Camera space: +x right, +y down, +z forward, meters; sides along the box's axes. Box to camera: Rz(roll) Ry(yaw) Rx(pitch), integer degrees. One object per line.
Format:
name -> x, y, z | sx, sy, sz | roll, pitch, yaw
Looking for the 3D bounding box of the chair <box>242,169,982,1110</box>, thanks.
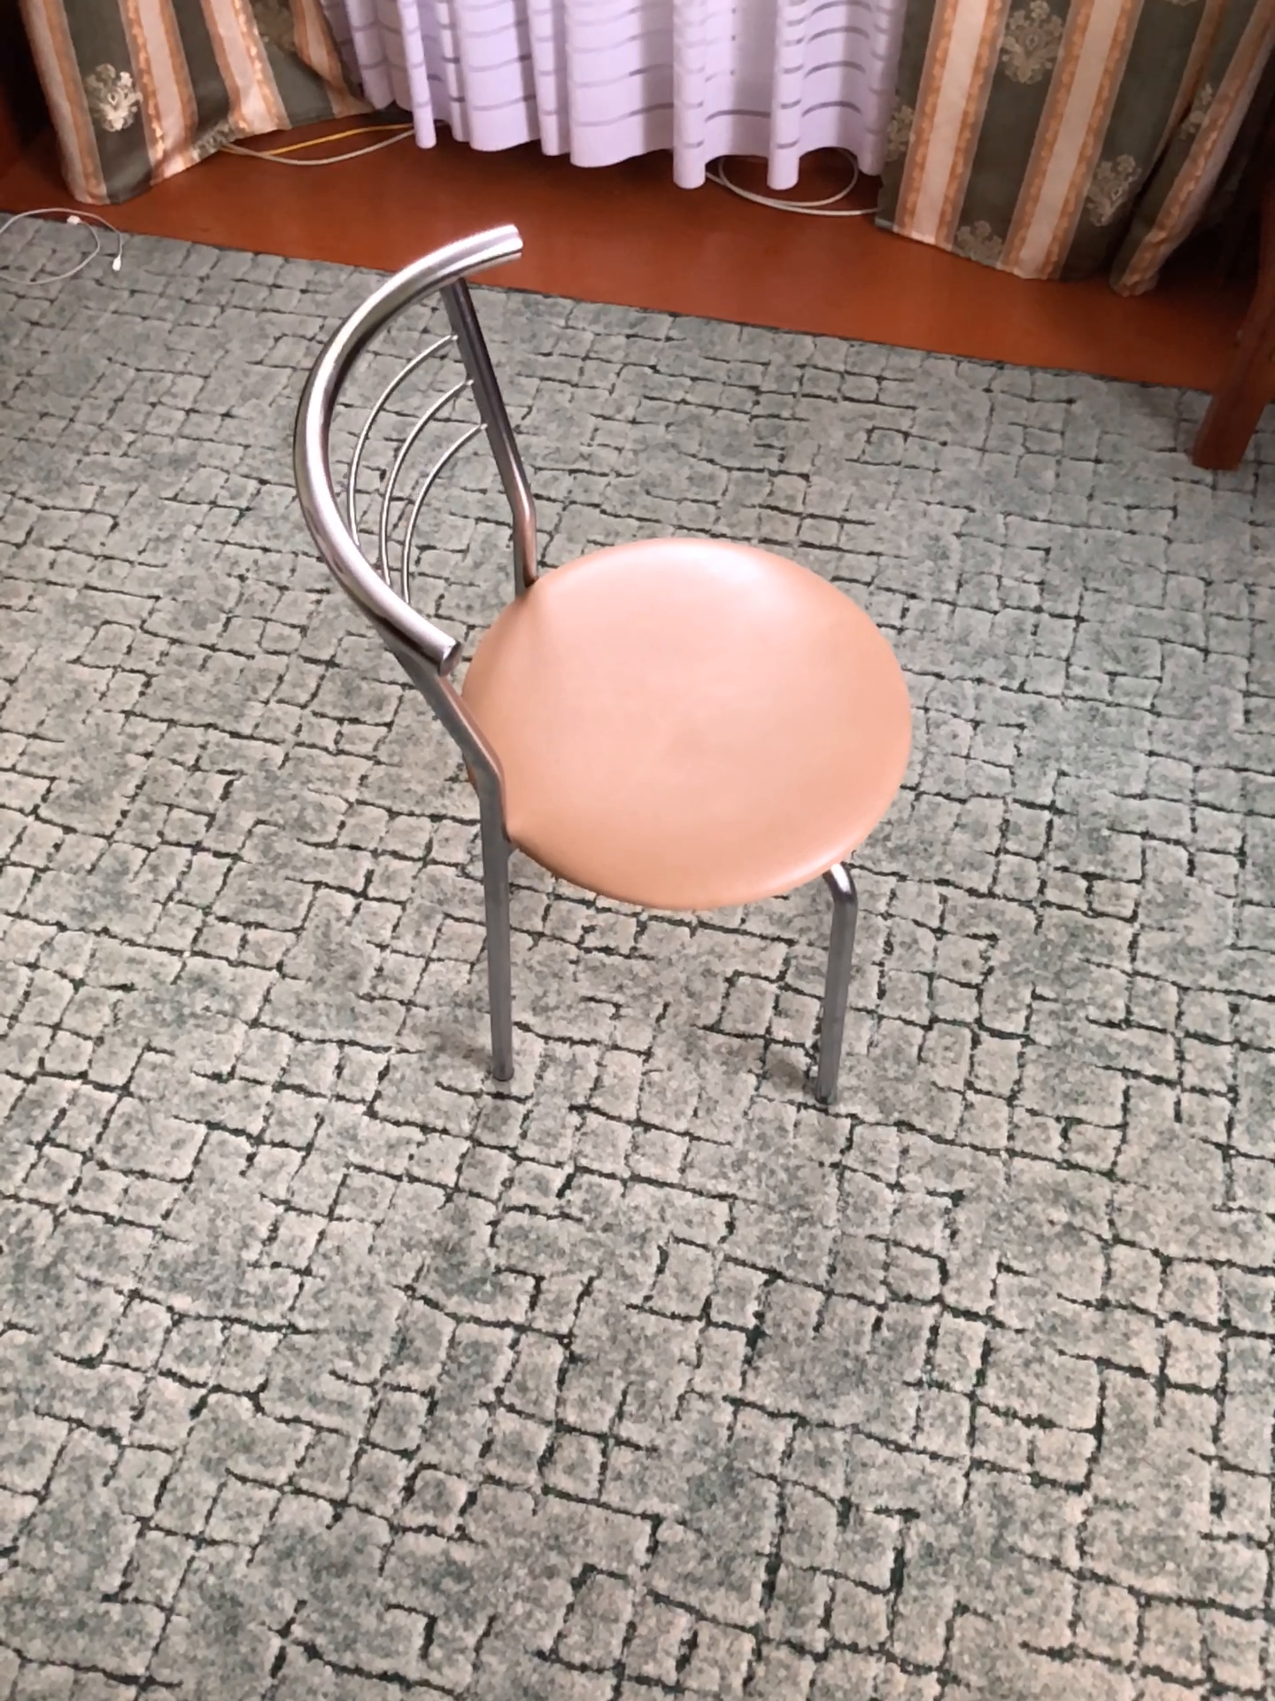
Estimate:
chair -> 0.007, -0.126, 1.308 | 0.450, 0.804, 0.445 | 2, 58, 3
